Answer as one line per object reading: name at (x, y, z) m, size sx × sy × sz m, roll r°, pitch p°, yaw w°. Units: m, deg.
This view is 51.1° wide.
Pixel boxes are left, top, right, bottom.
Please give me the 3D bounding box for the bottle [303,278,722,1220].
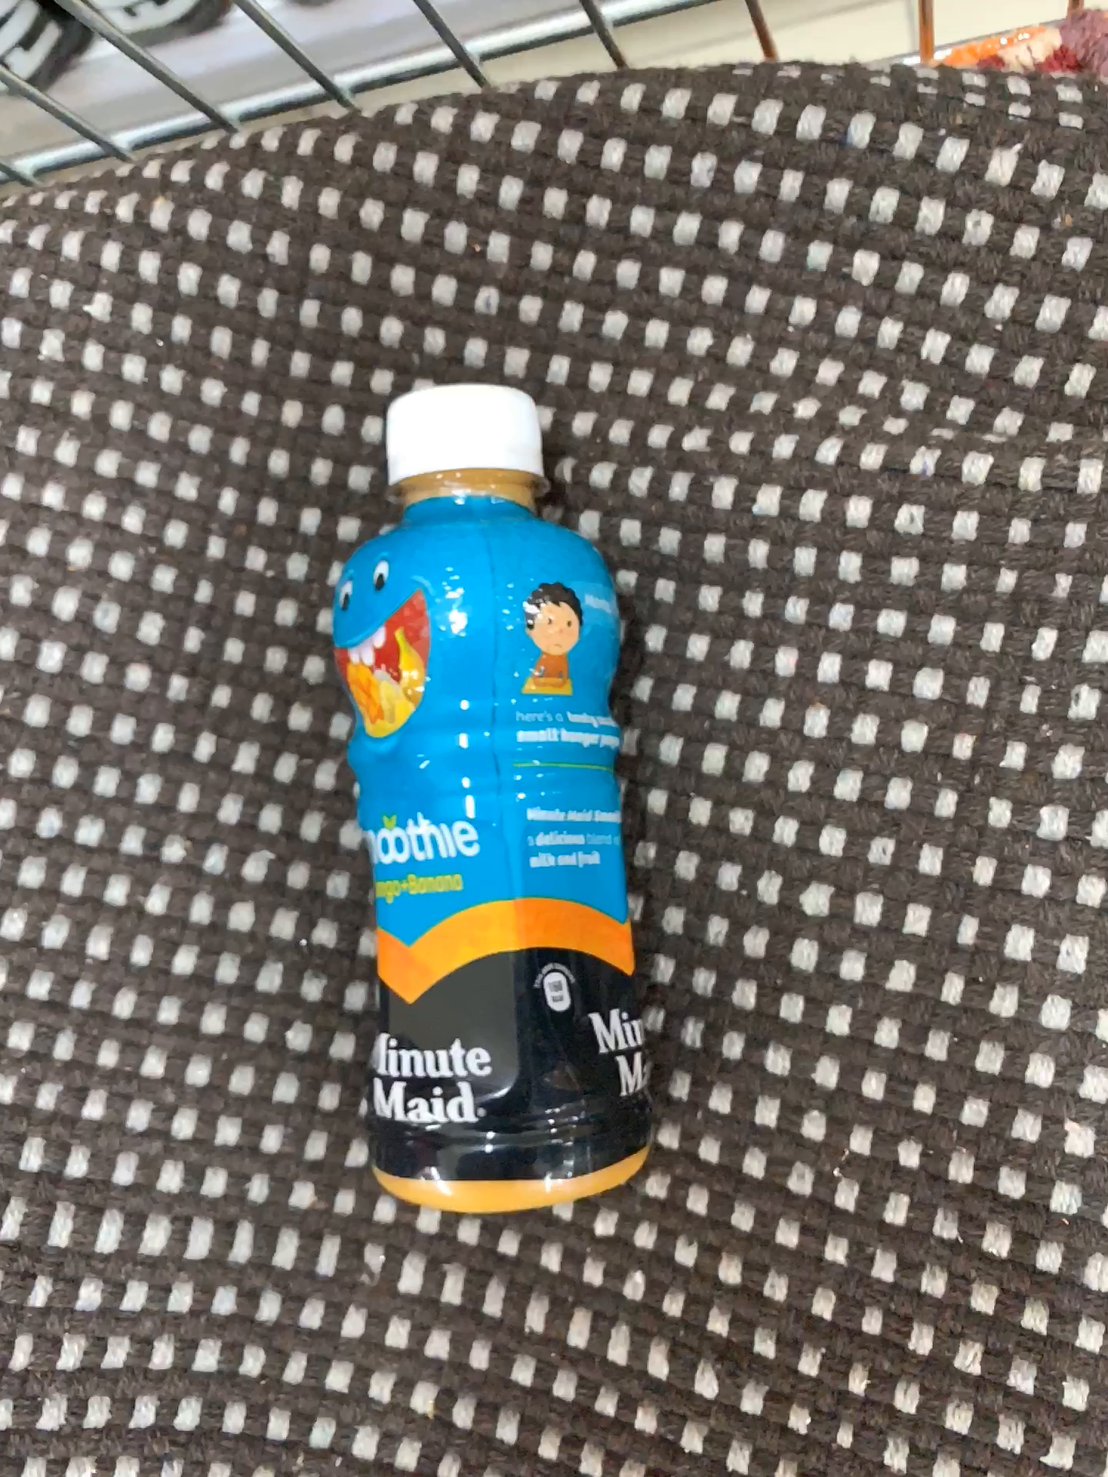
bottle at (-0.006, 0.004, 0.223) m, size 0.060 × 0.040 × 0.160 m, roll -5°, pitch 88°, yaw 13°
